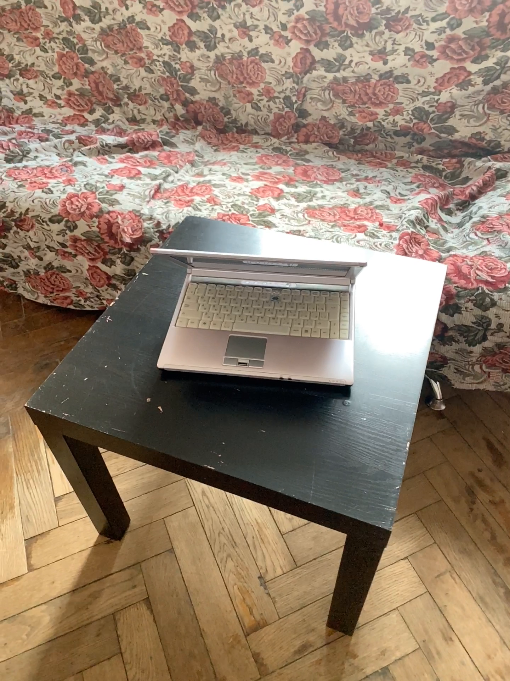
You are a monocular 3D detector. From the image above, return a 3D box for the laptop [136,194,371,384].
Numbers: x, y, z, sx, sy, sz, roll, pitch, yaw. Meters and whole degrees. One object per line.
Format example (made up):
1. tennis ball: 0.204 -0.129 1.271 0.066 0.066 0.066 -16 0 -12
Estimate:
1. laptop: 0.011 -0.086 0.799 0.305 0.156 0.227 4 47 6
